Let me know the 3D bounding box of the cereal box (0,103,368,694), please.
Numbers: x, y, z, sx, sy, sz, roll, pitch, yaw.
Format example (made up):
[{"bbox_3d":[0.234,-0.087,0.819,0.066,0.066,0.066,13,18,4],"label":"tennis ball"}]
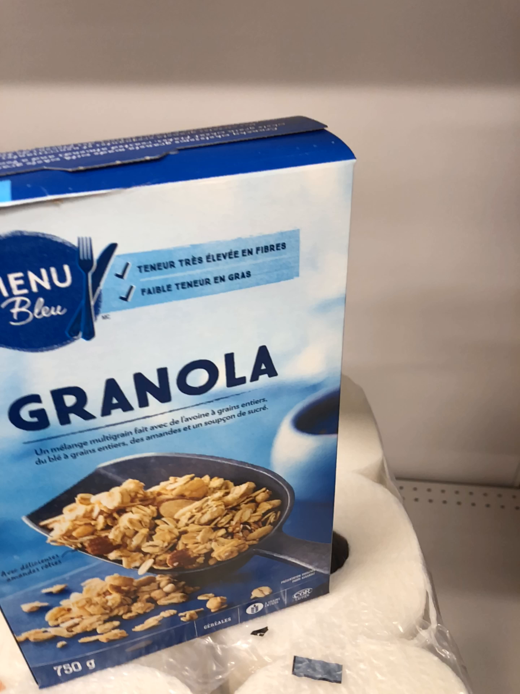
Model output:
[{"bbox_3d":[-0.047,0.036,0.250,0.160,0.239,0.060,-11,34,-12],"label":"cereal box"}]
